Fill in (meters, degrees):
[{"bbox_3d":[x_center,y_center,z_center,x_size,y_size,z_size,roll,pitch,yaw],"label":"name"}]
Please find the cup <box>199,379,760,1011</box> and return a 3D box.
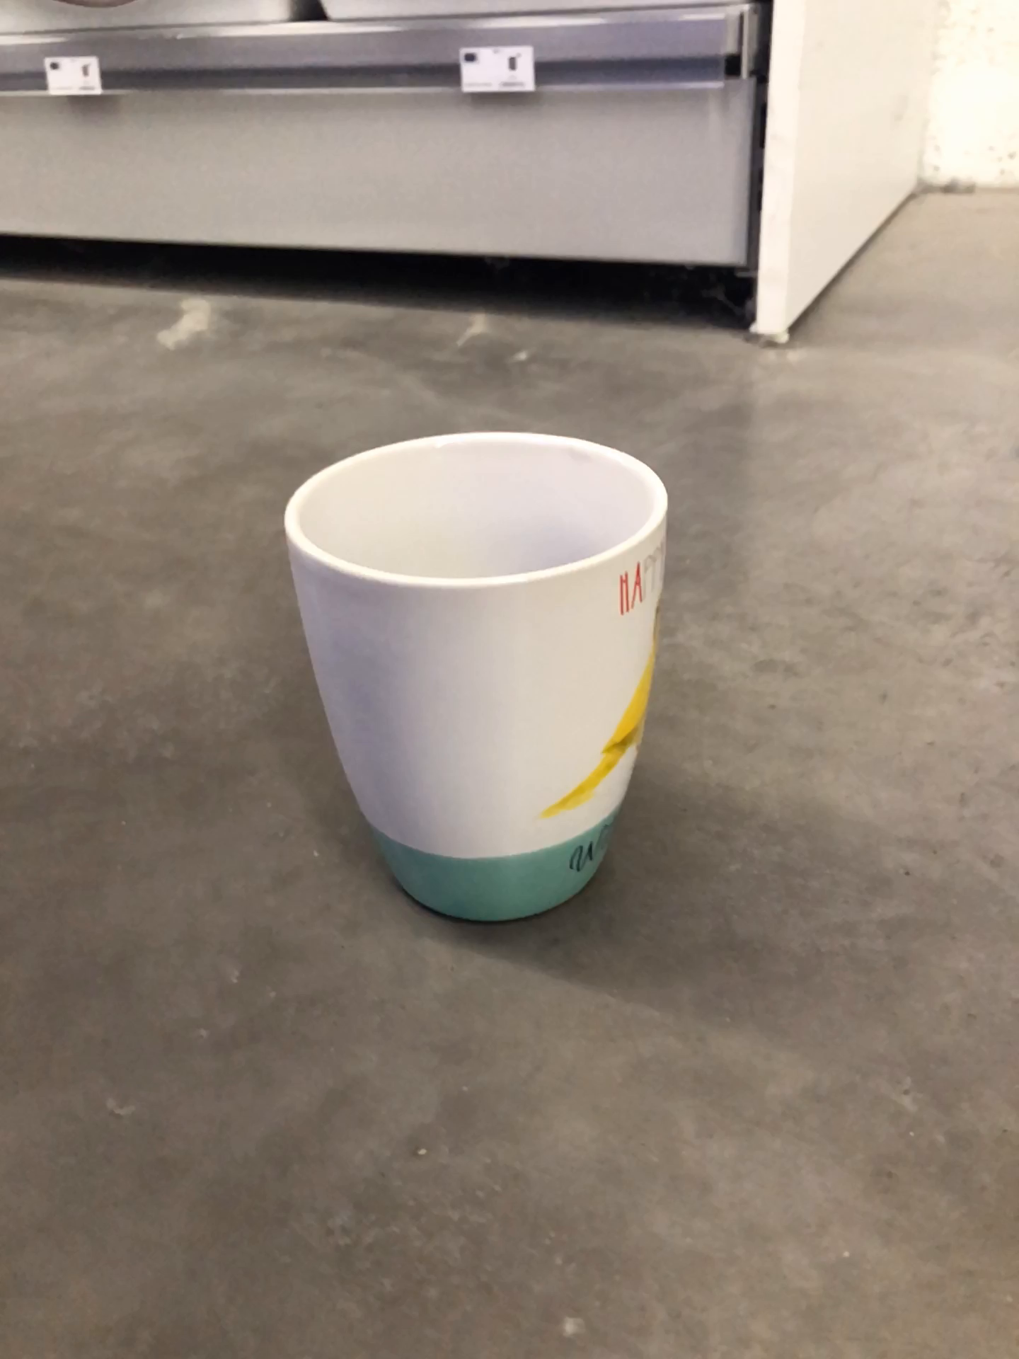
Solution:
[{"bbox_3d":[0.004,-0.007,0.308,0.097,0.107,0.130,9,33,19],"label":"cup"}]
